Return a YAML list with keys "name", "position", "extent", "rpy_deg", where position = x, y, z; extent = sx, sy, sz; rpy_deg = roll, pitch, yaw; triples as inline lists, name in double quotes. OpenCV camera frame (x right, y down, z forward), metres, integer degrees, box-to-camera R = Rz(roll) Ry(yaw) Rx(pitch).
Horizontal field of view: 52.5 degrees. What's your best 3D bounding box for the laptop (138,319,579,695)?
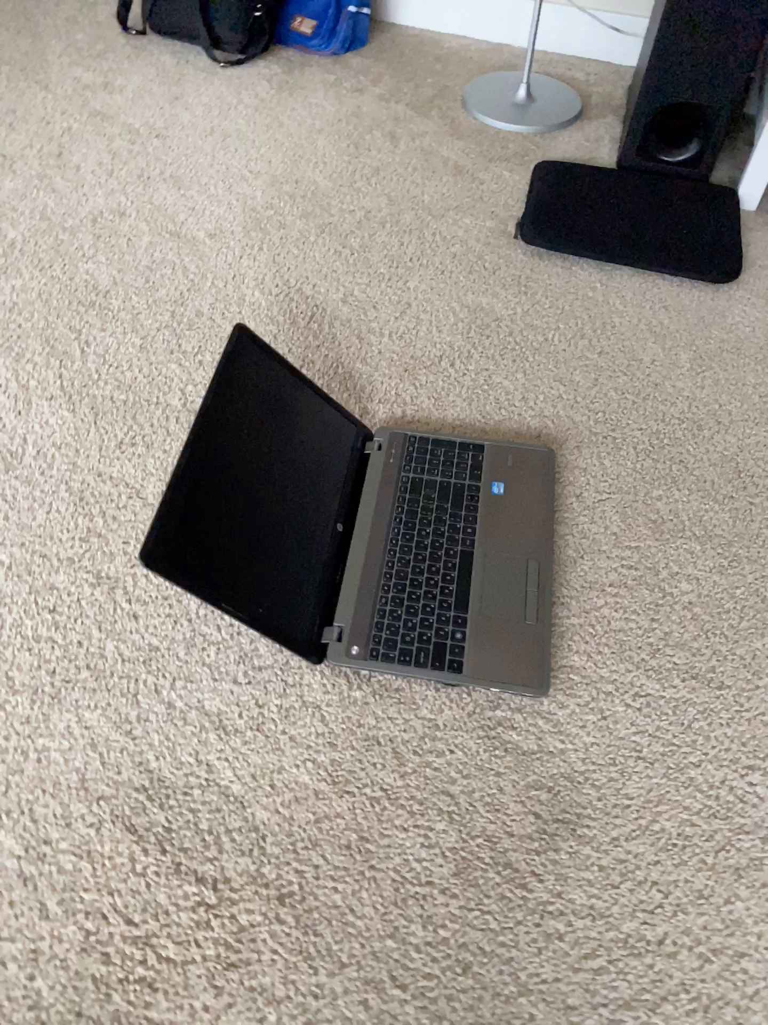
- name: "laptop"
  position: [-0.004, -0.023, 0.935]
  extent: [0.435, 0.162, 0.376]
  rpy_deg: [8, 53, 4]
